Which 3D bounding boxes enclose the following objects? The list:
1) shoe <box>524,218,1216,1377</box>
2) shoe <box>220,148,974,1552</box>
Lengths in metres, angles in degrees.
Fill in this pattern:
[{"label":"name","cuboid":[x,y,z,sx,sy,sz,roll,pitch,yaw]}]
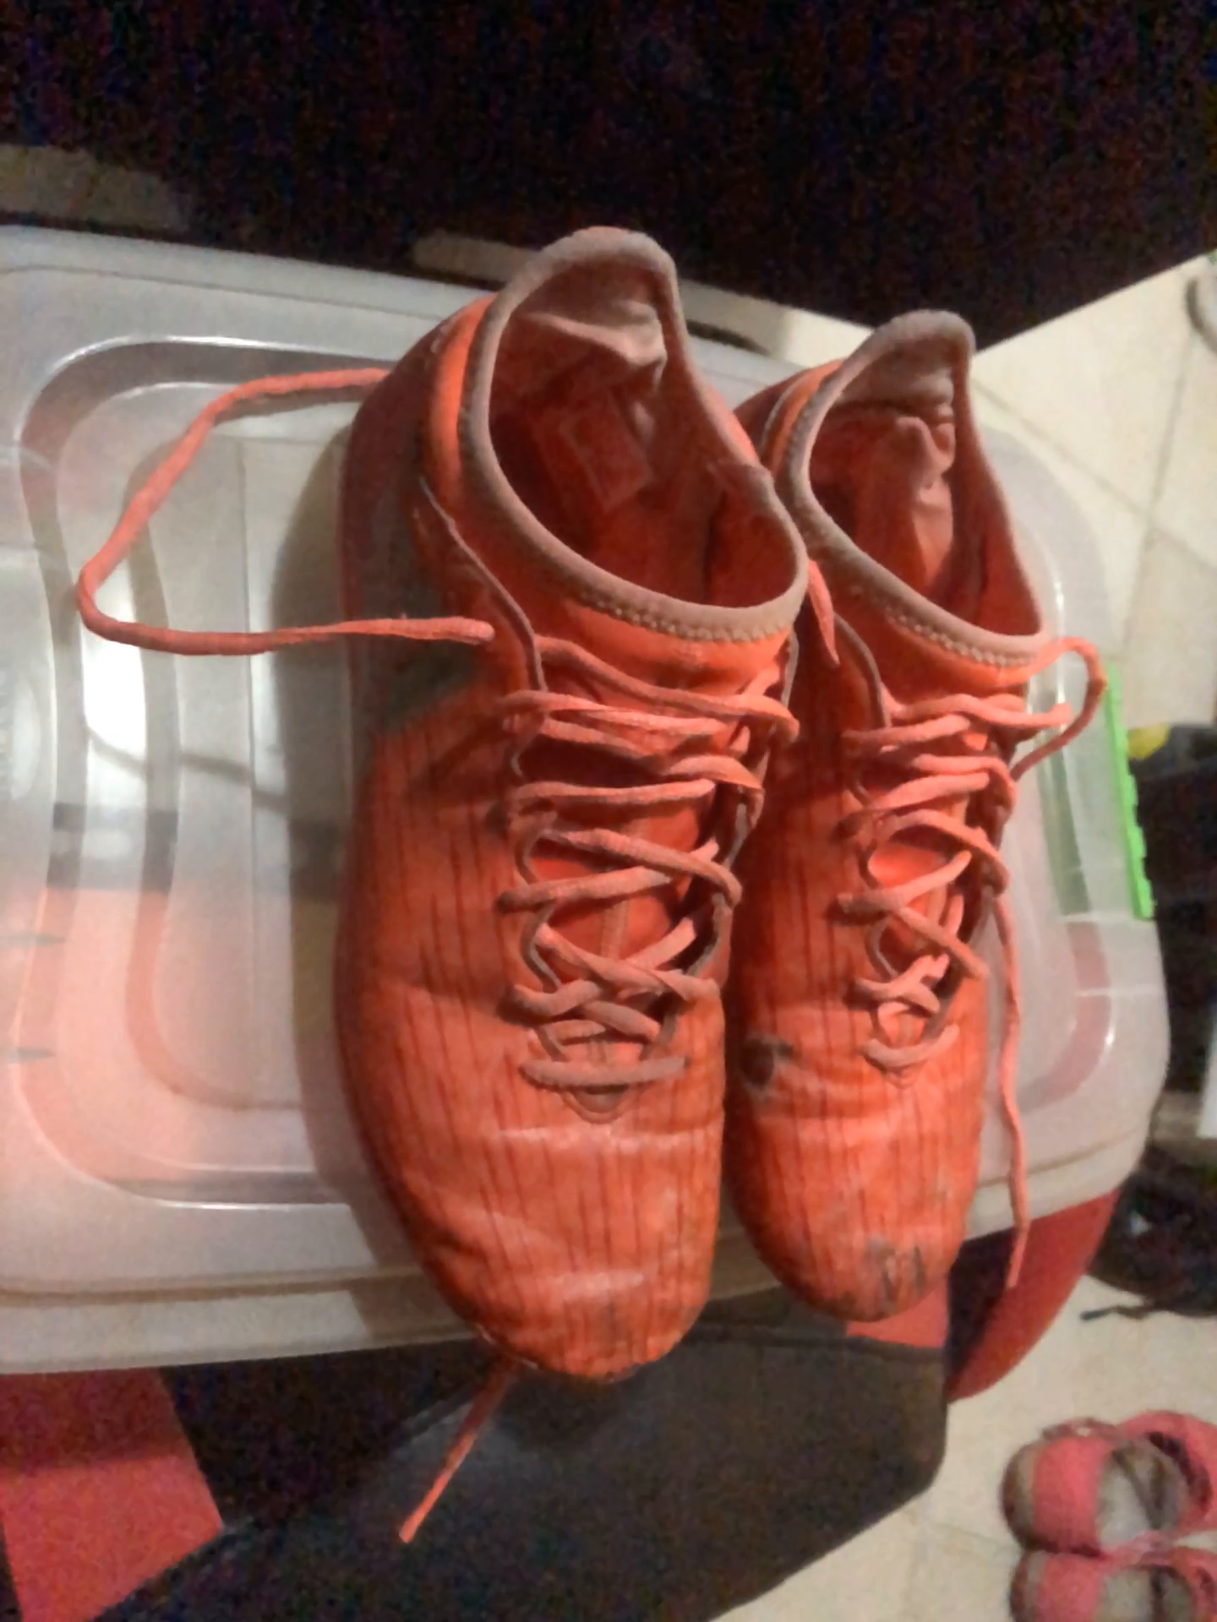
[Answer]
[{"label":"shoe","cuboid":[0.060,0.000,0.353,0.090,0.129,0.240,-3,81,-30]},{"label":"shoe","cuboid":[-0.017,0.008,0.306,0.090,0.129,0.240,-3,81,-30]}]
